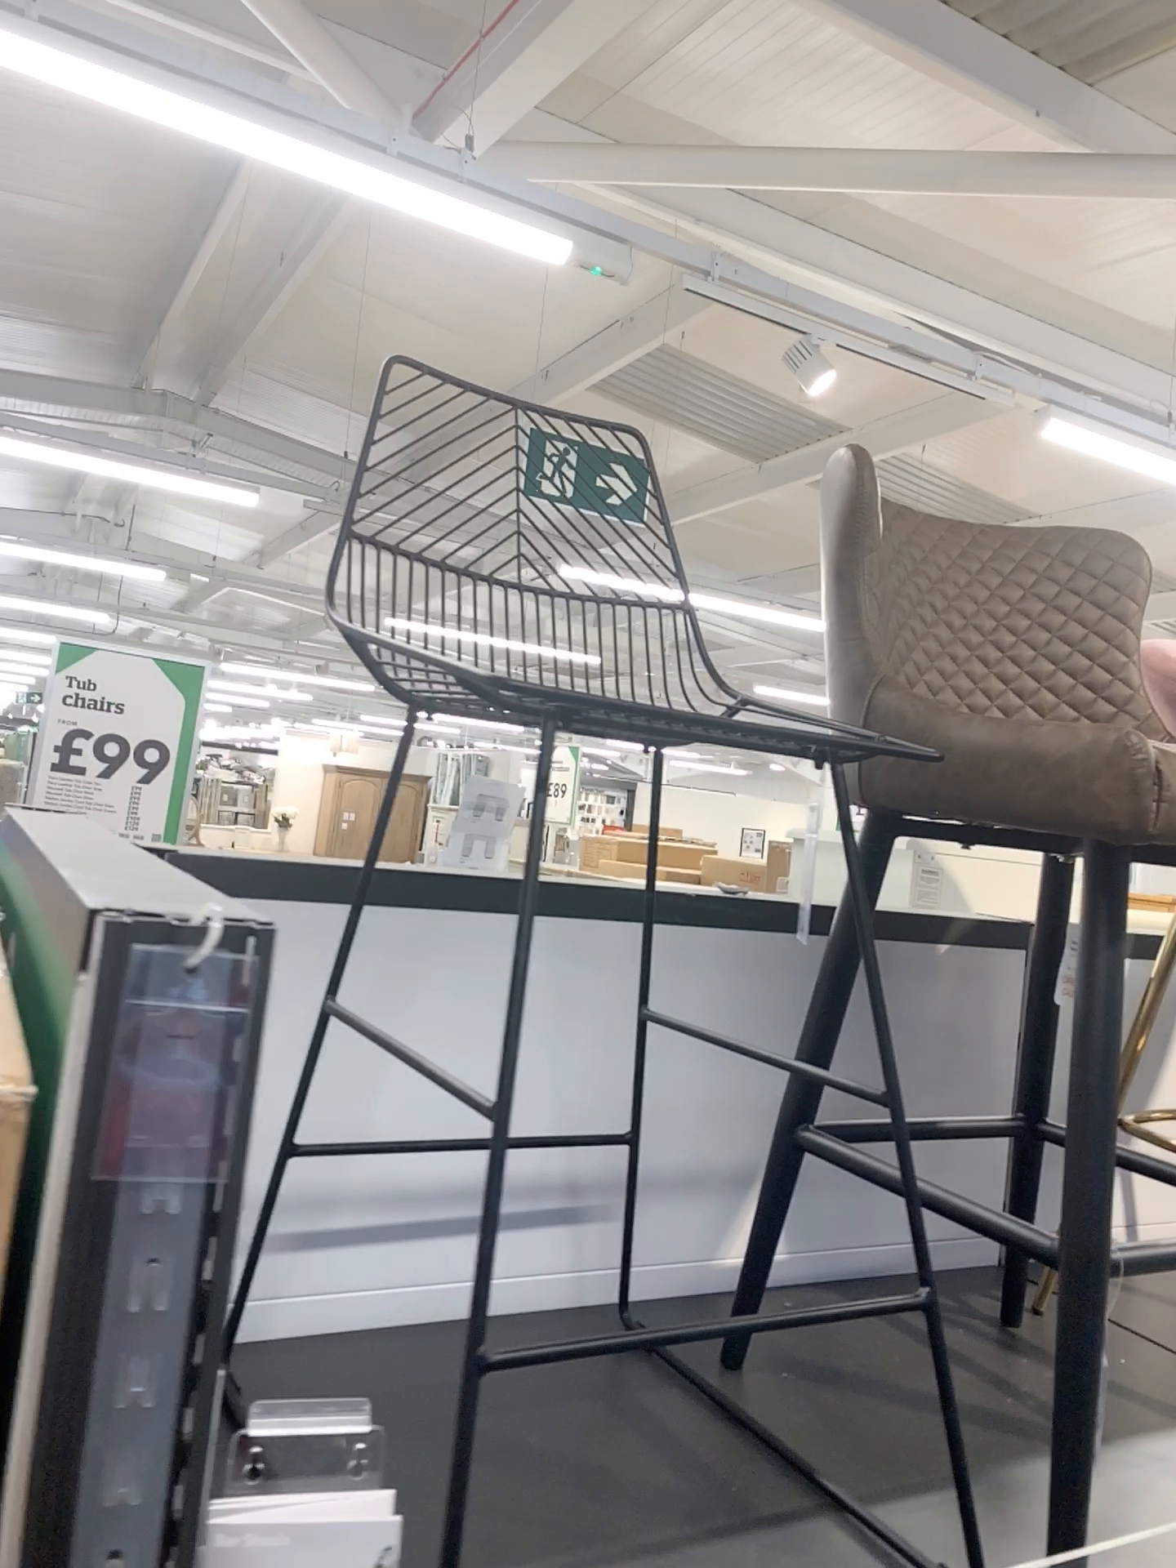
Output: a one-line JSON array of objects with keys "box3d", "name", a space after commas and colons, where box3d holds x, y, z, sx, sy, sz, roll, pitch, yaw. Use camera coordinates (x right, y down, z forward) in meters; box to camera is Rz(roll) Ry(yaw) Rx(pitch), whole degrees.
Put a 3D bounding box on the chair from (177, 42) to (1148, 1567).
[{"box3d": [0.030, 0.078, 1.007, 0.504, 0.965, 0.529, 8, -3, -29], "name": "chair"}]
